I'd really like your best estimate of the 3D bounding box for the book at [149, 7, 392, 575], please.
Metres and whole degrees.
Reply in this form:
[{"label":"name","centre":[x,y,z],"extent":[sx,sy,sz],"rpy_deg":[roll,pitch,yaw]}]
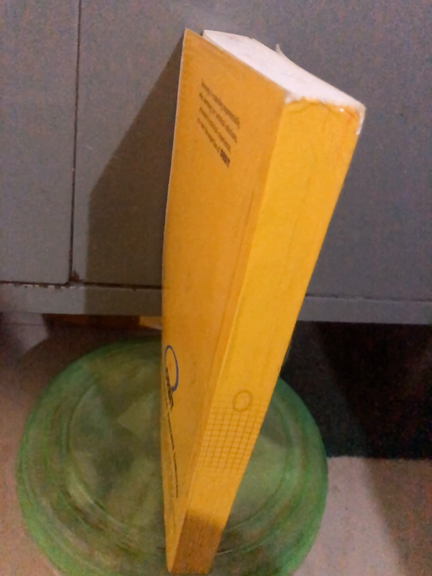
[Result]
[{"label":"book","centre":[-0.006,-0.008,0.304],"extent":[0.040,0.279,0.221],"rpy_deg":[6,32,-12]}]
